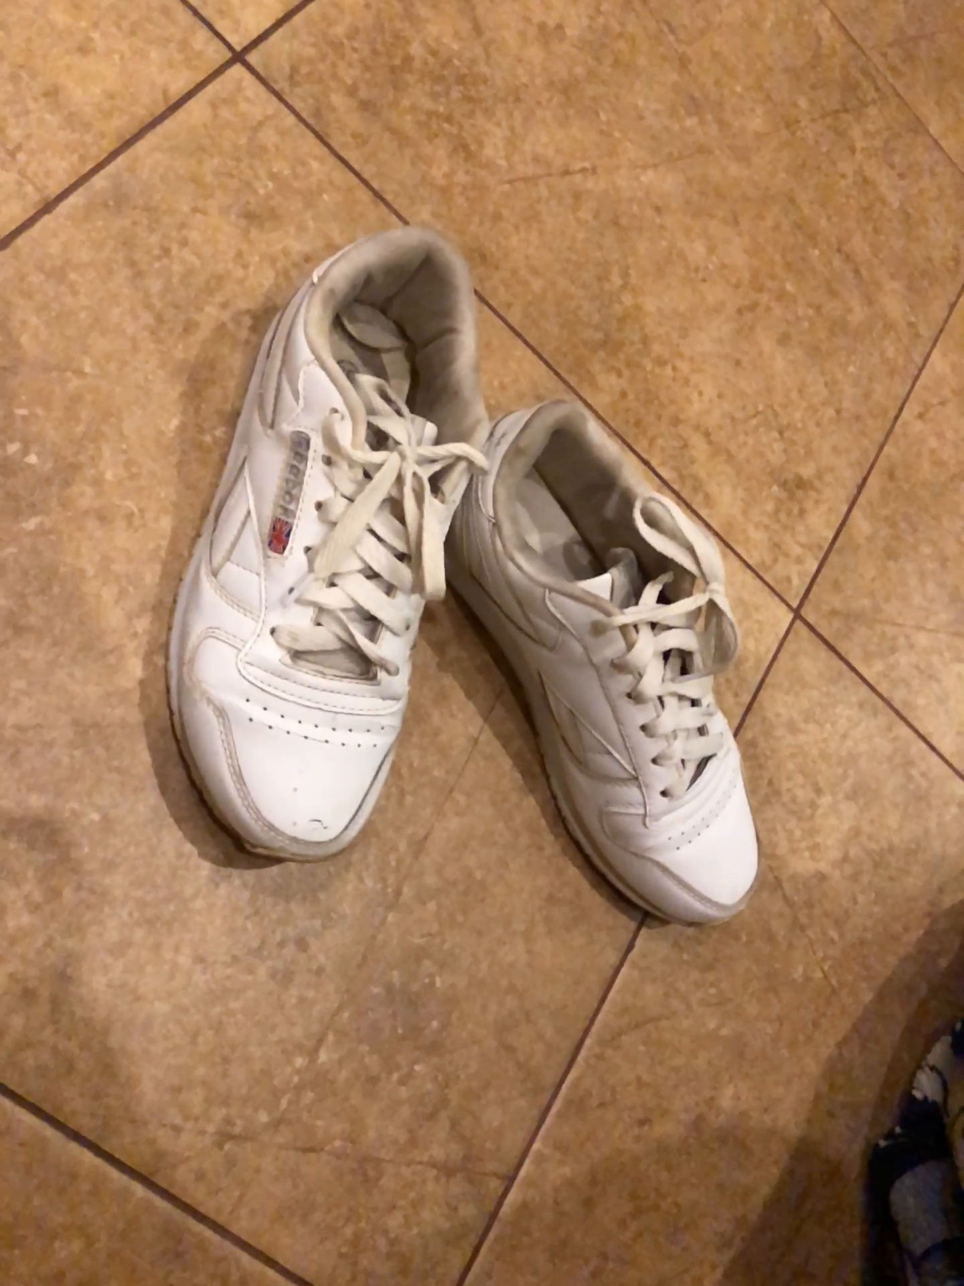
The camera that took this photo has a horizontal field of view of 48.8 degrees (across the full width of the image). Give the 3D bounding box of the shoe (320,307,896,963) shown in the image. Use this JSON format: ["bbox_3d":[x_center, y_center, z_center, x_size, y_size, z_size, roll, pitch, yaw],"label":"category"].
[{"bbox_3d":[0.054,0.001,0.473,0.110,0.100,0.250,-34,95,-31],"label":"shoe"}]

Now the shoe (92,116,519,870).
[{"bbox_3d":[-0.066,-0.050,0.421,0.100,0.100,0.260,15,71,-25],"label":"shoe"}]
